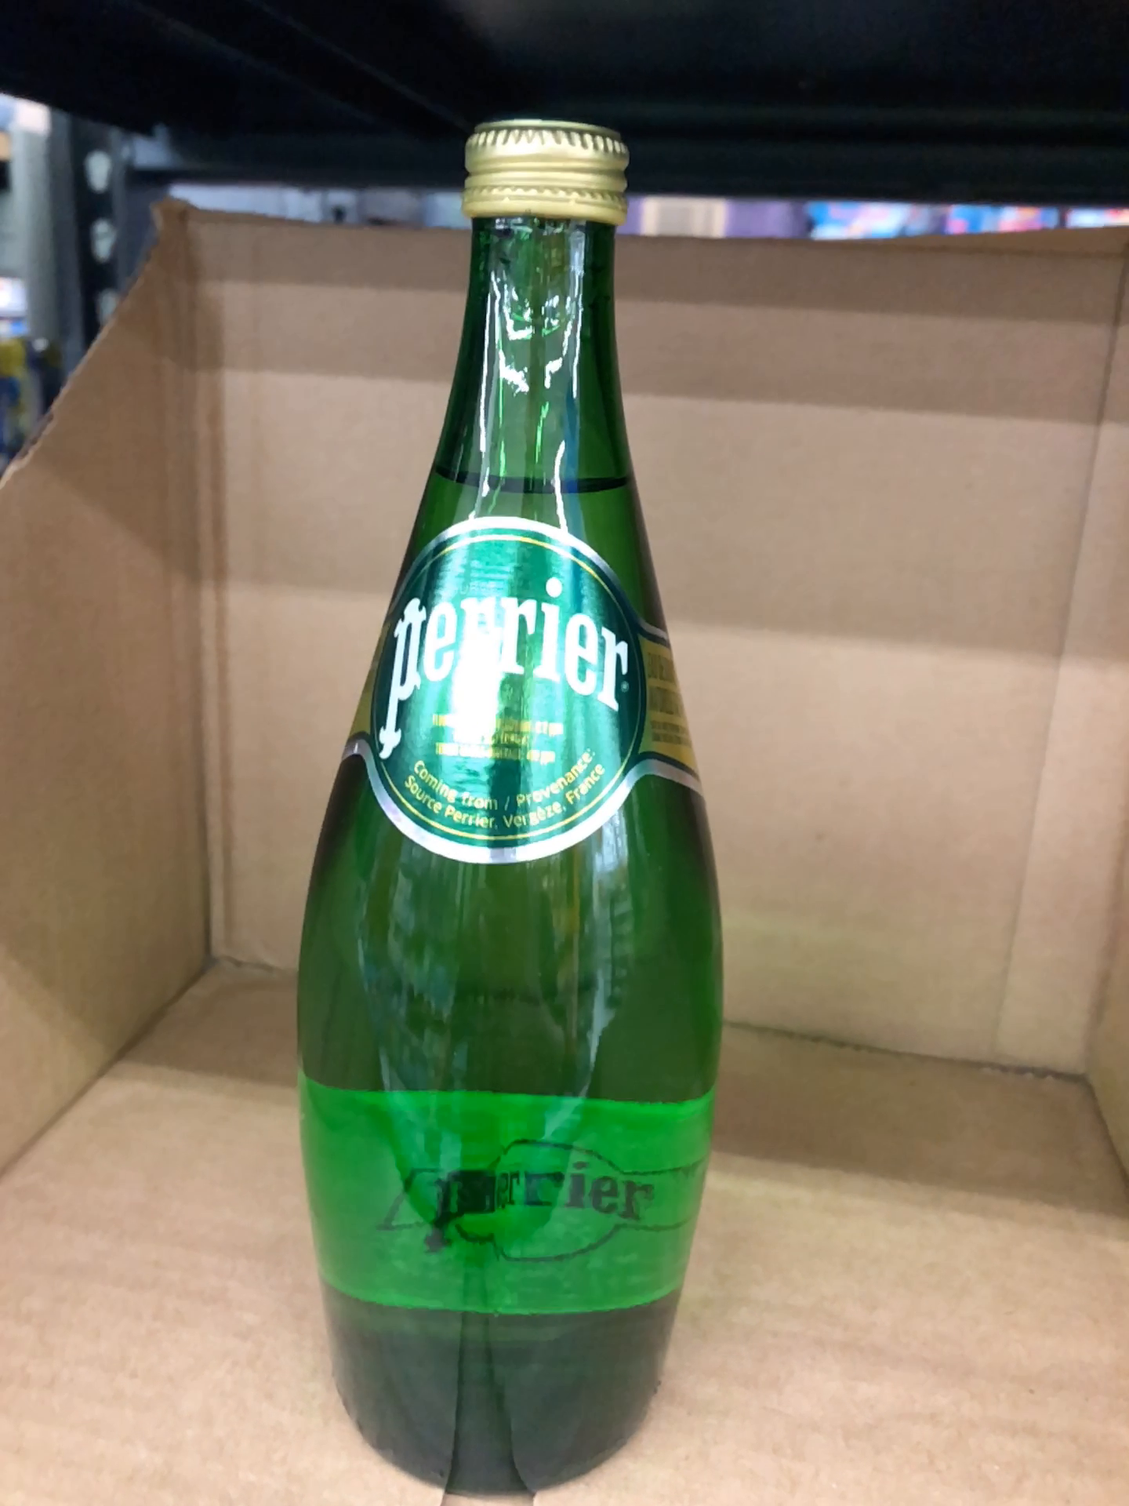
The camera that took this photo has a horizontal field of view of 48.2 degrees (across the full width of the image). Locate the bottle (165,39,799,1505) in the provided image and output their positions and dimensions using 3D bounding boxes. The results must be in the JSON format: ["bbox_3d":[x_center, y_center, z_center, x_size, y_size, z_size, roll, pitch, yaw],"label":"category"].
[{"bbox_3d":[-0.013,0.015,0.256,0.090,0.268,0.080,6,18,10],"label":"bottle"}]

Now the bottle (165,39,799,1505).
[{"bbox_3d":[-0.013,0.015,0.256,0.090,0.268,0.080,6,18,10],"label":"bottle"}]
